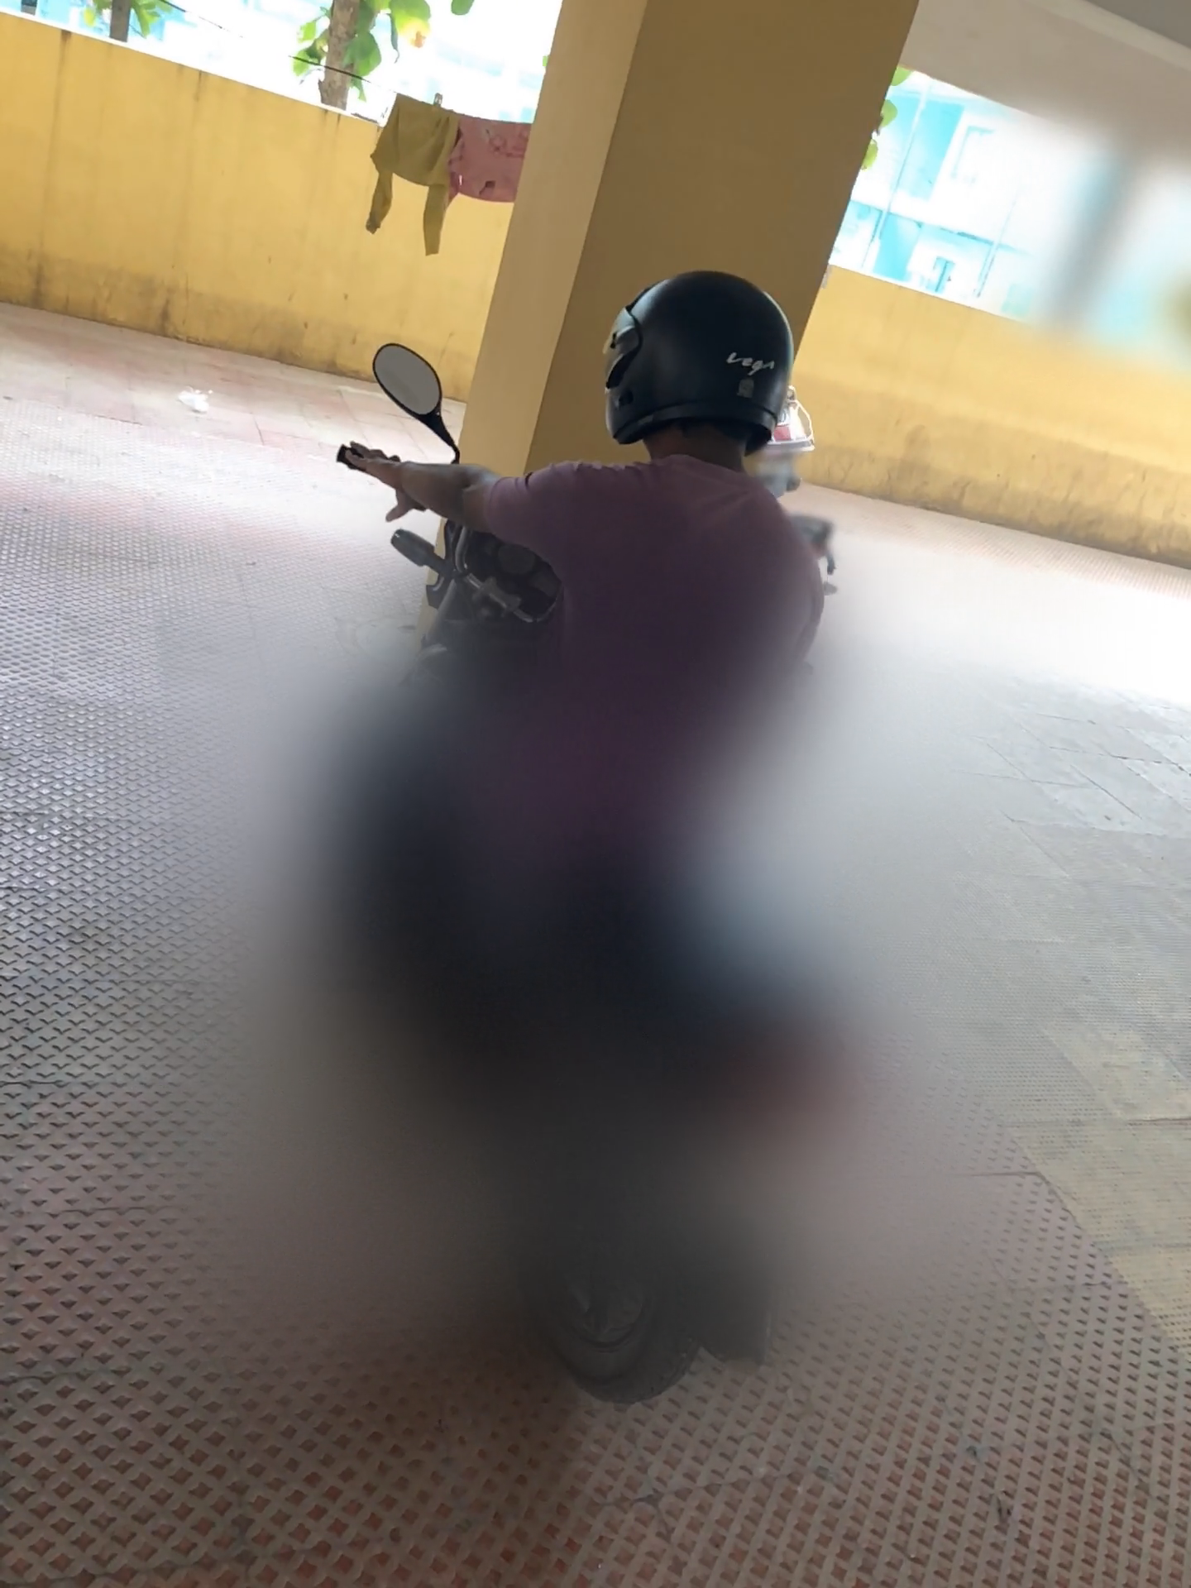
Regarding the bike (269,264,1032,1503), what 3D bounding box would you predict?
[{"bbox_3d":[-0.110,-0.022,2.247,0.632,1.063,1.653,6,34,-23],"label":"bike"}]
